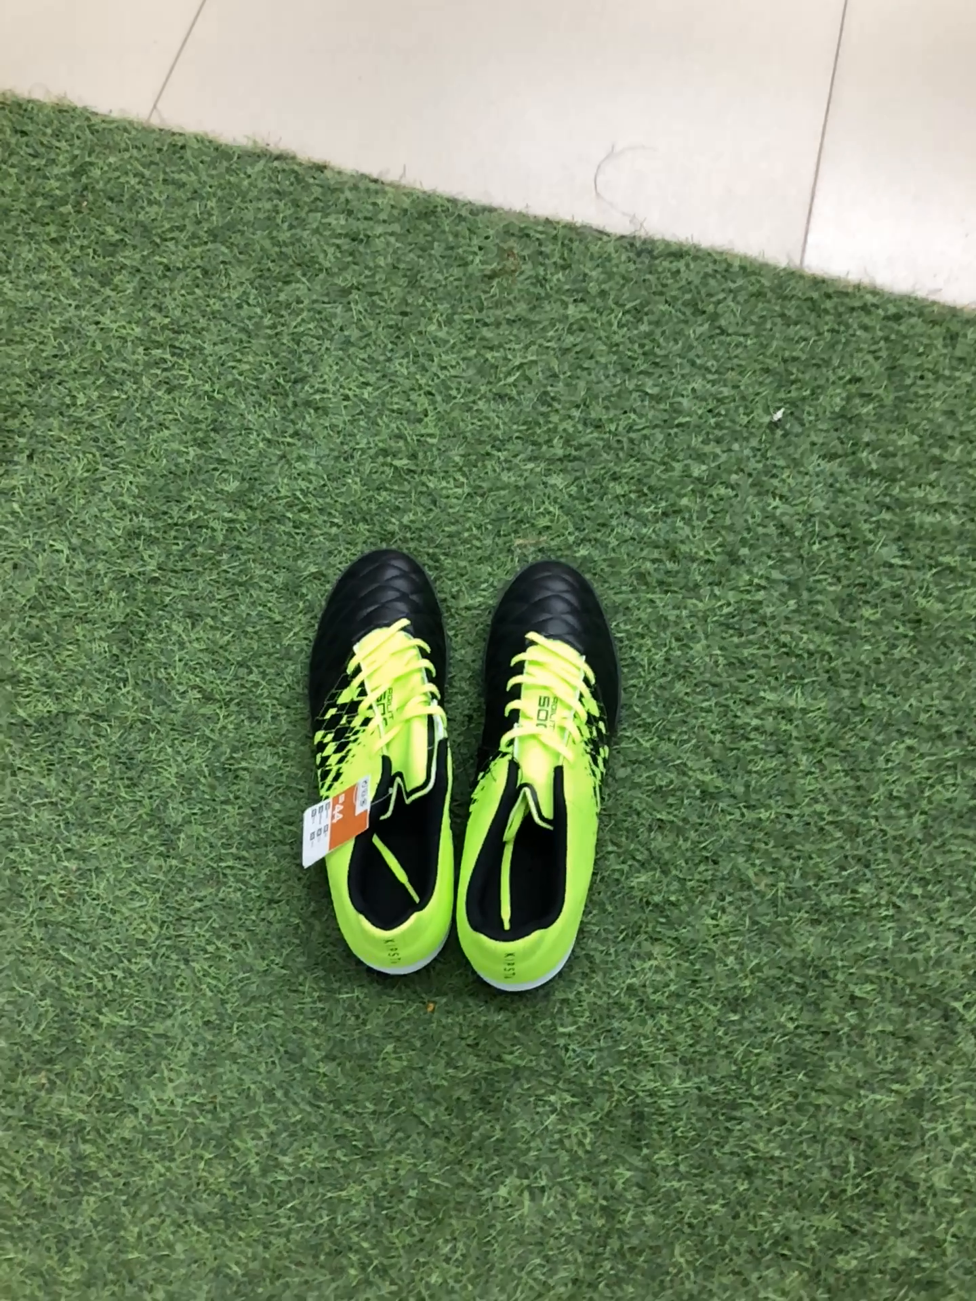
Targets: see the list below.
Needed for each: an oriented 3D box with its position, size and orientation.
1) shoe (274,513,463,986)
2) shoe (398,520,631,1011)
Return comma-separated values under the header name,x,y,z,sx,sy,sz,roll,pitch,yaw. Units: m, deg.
name,x,y,z,sx,sy,sz,roll,pitch,yaw
shoe,-0.071,0.060,0.679,0.100,0.090,0.281,-2,68,0
shoe,0.021,0.069,0.669,0.100,0.090,0.281,7,68,3
